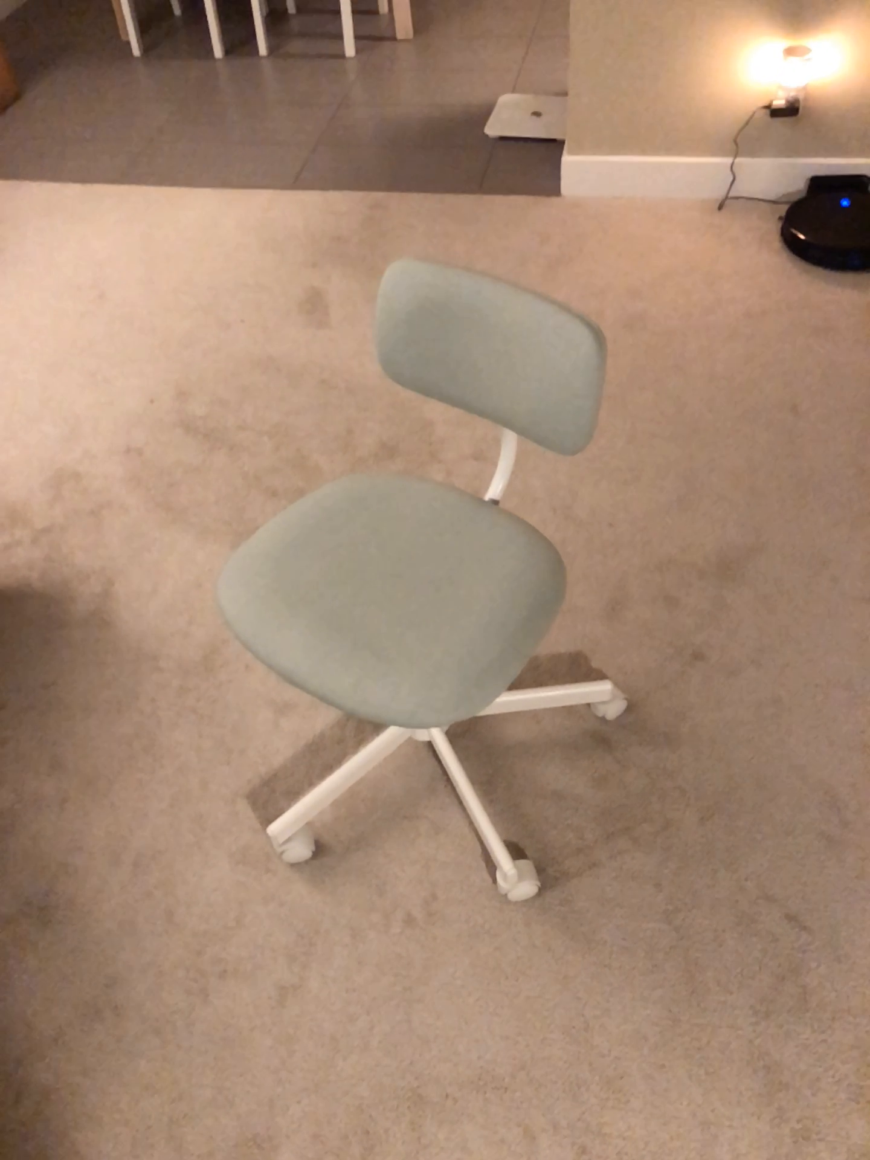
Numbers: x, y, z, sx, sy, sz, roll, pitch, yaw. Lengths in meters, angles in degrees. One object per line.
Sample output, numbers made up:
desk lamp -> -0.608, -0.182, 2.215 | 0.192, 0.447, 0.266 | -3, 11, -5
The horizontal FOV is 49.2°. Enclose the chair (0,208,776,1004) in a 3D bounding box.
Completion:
chair -> -0.039, 0.013, 1.355 | 0.661, 0.676, 0.642 | 31, 58, 29
